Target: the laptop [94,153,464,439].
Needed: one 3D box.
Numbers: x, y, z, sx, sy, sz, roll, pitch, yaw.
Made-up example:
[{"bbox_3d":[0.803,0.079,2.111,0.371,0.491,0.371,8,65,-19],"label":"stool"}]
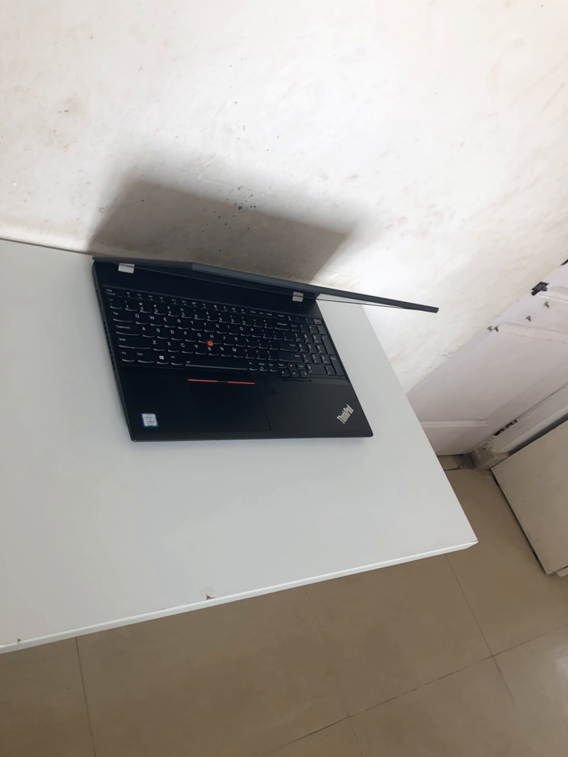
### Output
[{"bbox_3d":[-0.007,-0.076,0.745,0.348,0.173,0.234,4,54,-37],"label":"laptop"}]
